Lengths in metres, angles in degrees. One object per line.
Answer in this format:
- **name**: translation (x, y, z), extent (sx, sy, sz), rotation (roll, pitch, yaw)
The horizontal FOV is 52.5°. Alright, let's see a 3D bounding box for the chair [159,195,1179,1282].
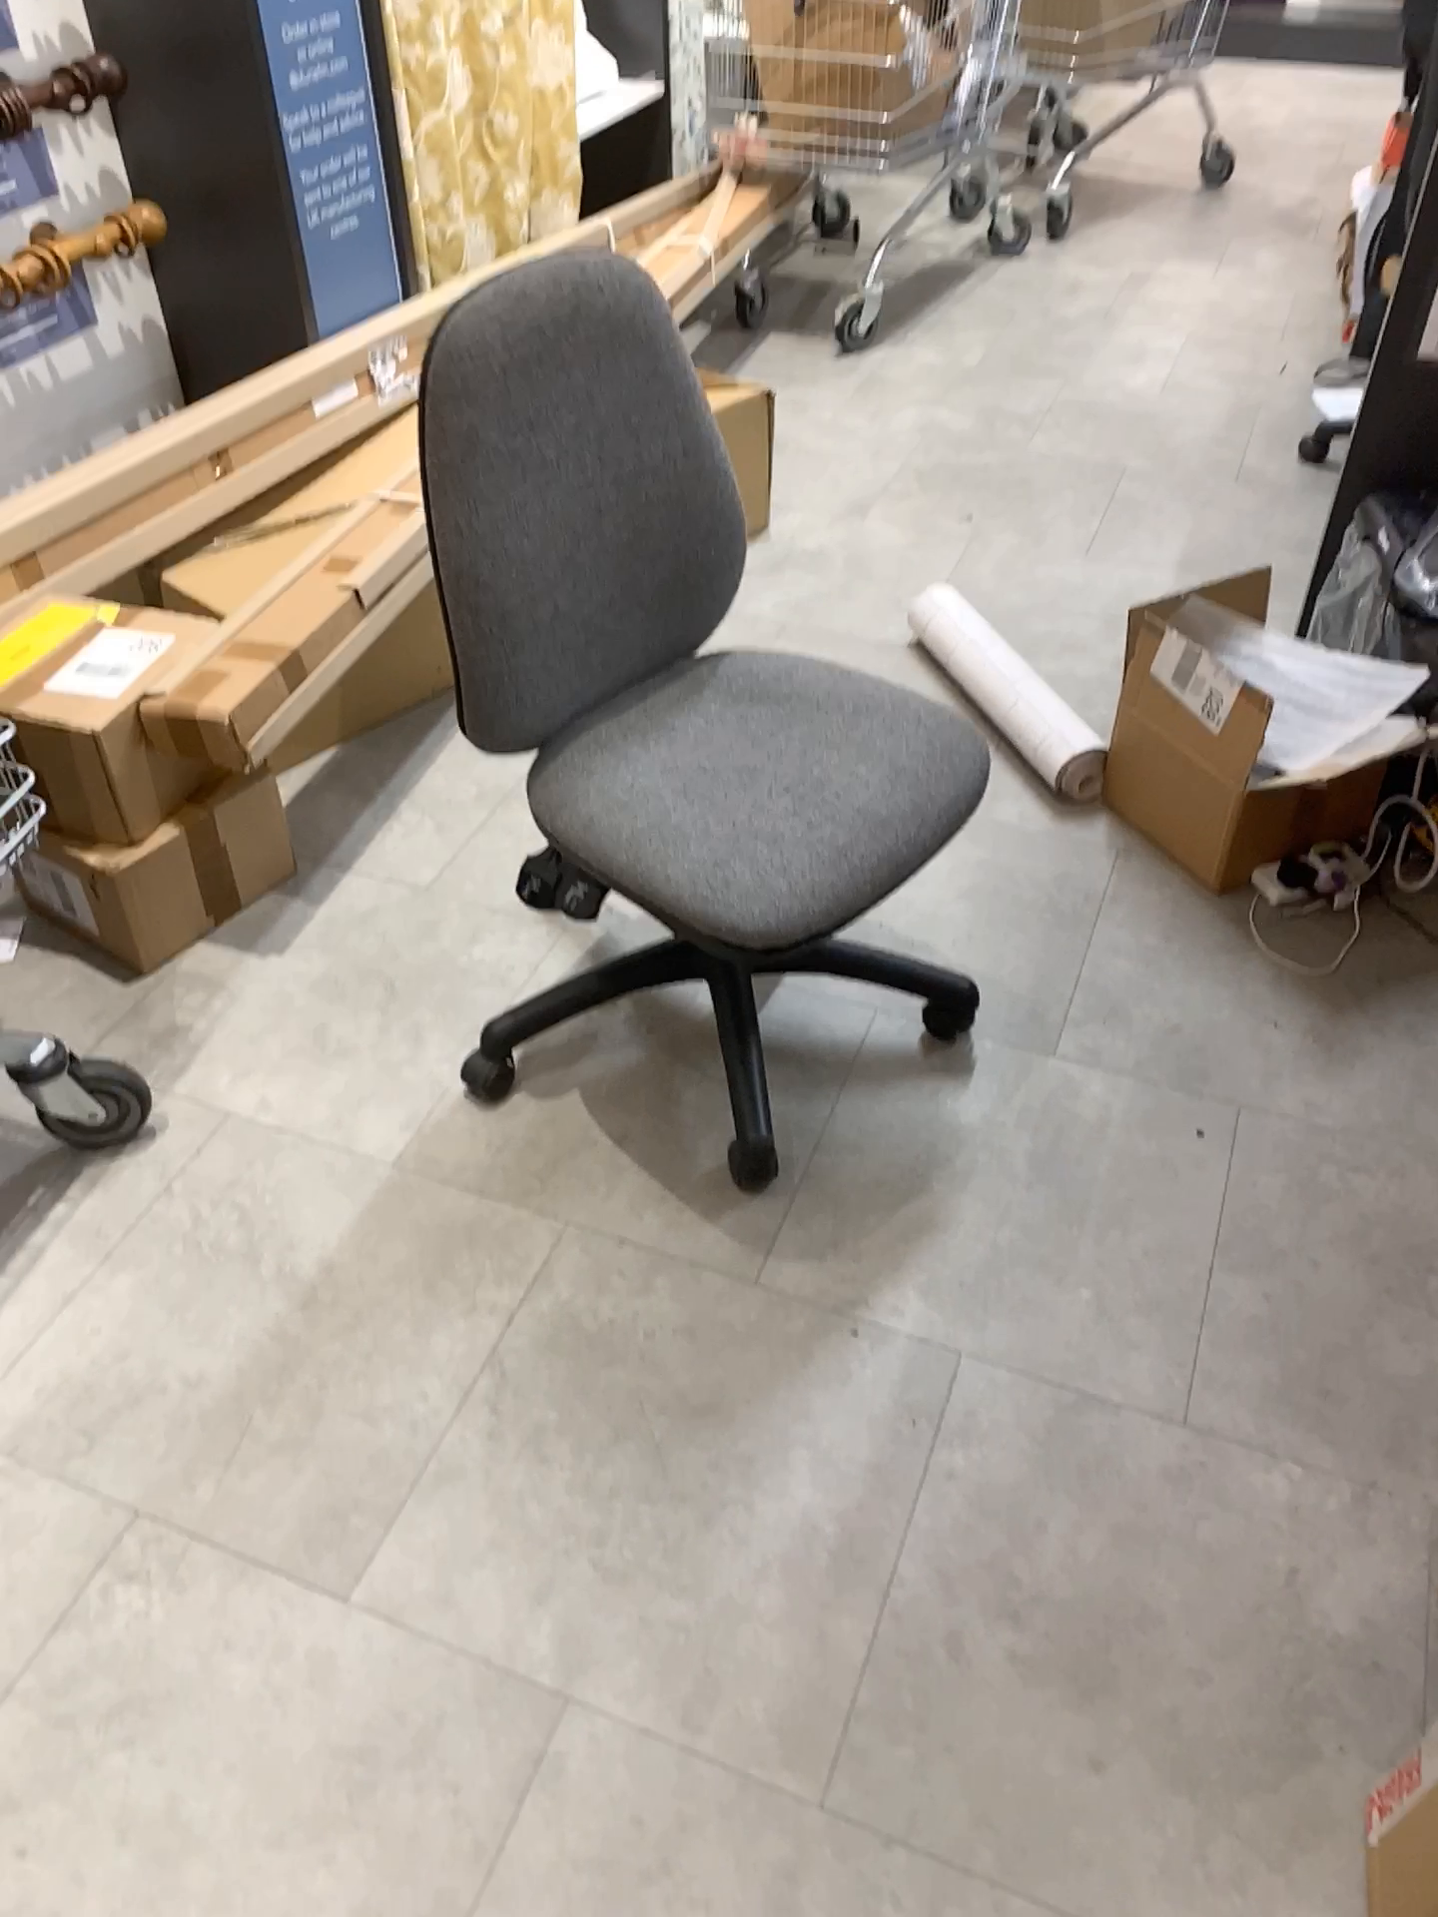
- **chair**: translation (-0.032, -0.260, 1.509), extent (0.626, 0.750, 0.630), rotation (29, 49, 29)
